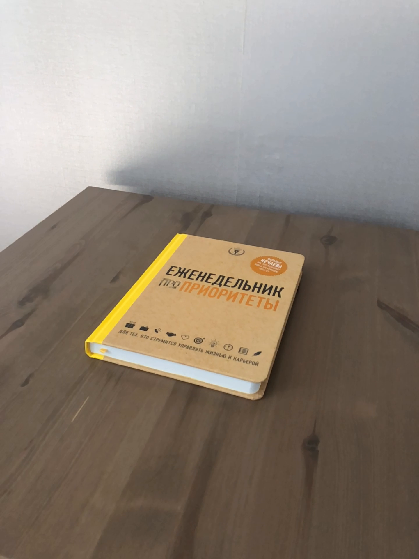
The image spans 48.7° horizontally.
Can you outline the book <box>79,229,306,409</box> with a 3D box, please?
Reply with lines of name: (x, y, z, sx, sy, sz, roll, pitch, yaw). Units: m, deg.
book: (-0.002, 0.024, 0.515, 0.180, 0.032, 0.230, 11, 36, 15)
